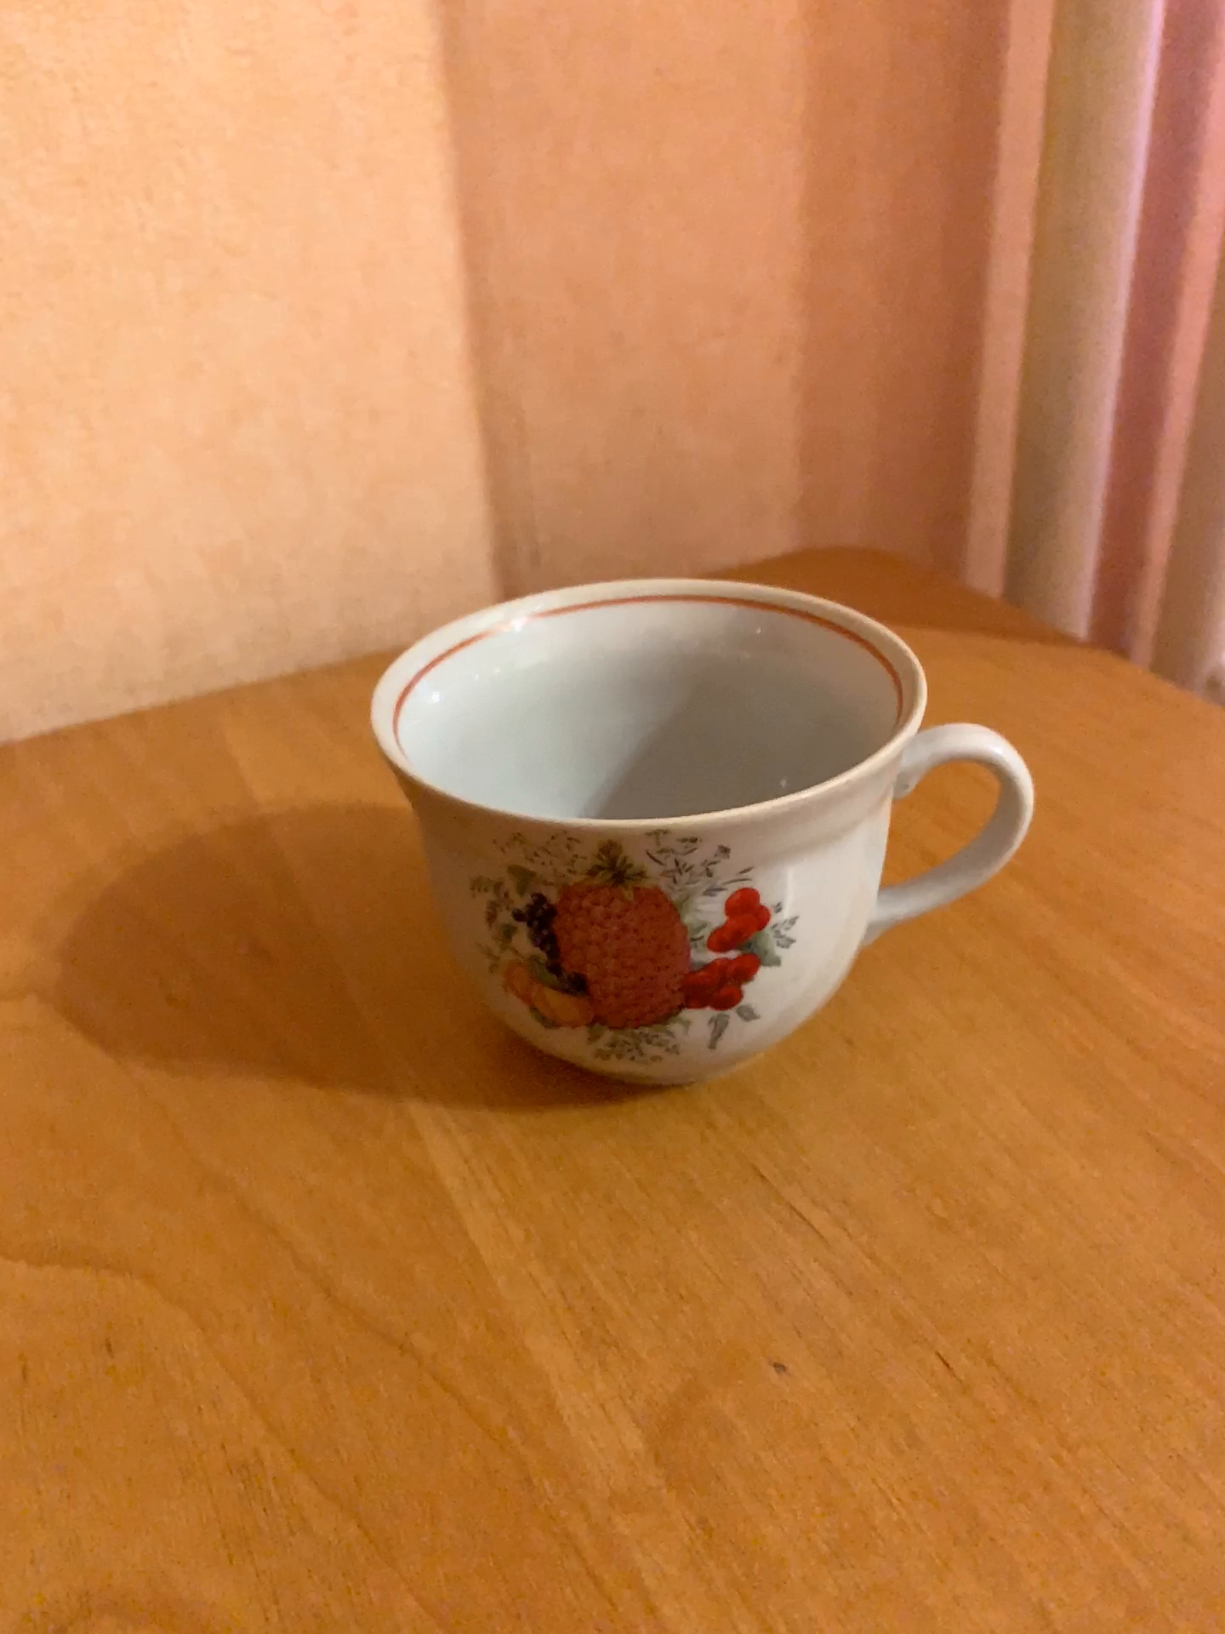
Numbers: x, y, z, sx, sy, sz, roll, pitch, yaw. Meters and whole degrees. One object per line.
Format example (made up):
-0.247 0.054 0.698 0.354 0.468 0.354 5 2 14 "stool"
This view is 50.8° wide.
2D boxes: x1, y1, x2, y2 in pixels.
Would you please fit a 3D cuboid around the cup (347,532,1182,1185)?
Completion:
0.016 0.000 0.213 0.108 0.056 0.083 -9 31 -7 "cup"
